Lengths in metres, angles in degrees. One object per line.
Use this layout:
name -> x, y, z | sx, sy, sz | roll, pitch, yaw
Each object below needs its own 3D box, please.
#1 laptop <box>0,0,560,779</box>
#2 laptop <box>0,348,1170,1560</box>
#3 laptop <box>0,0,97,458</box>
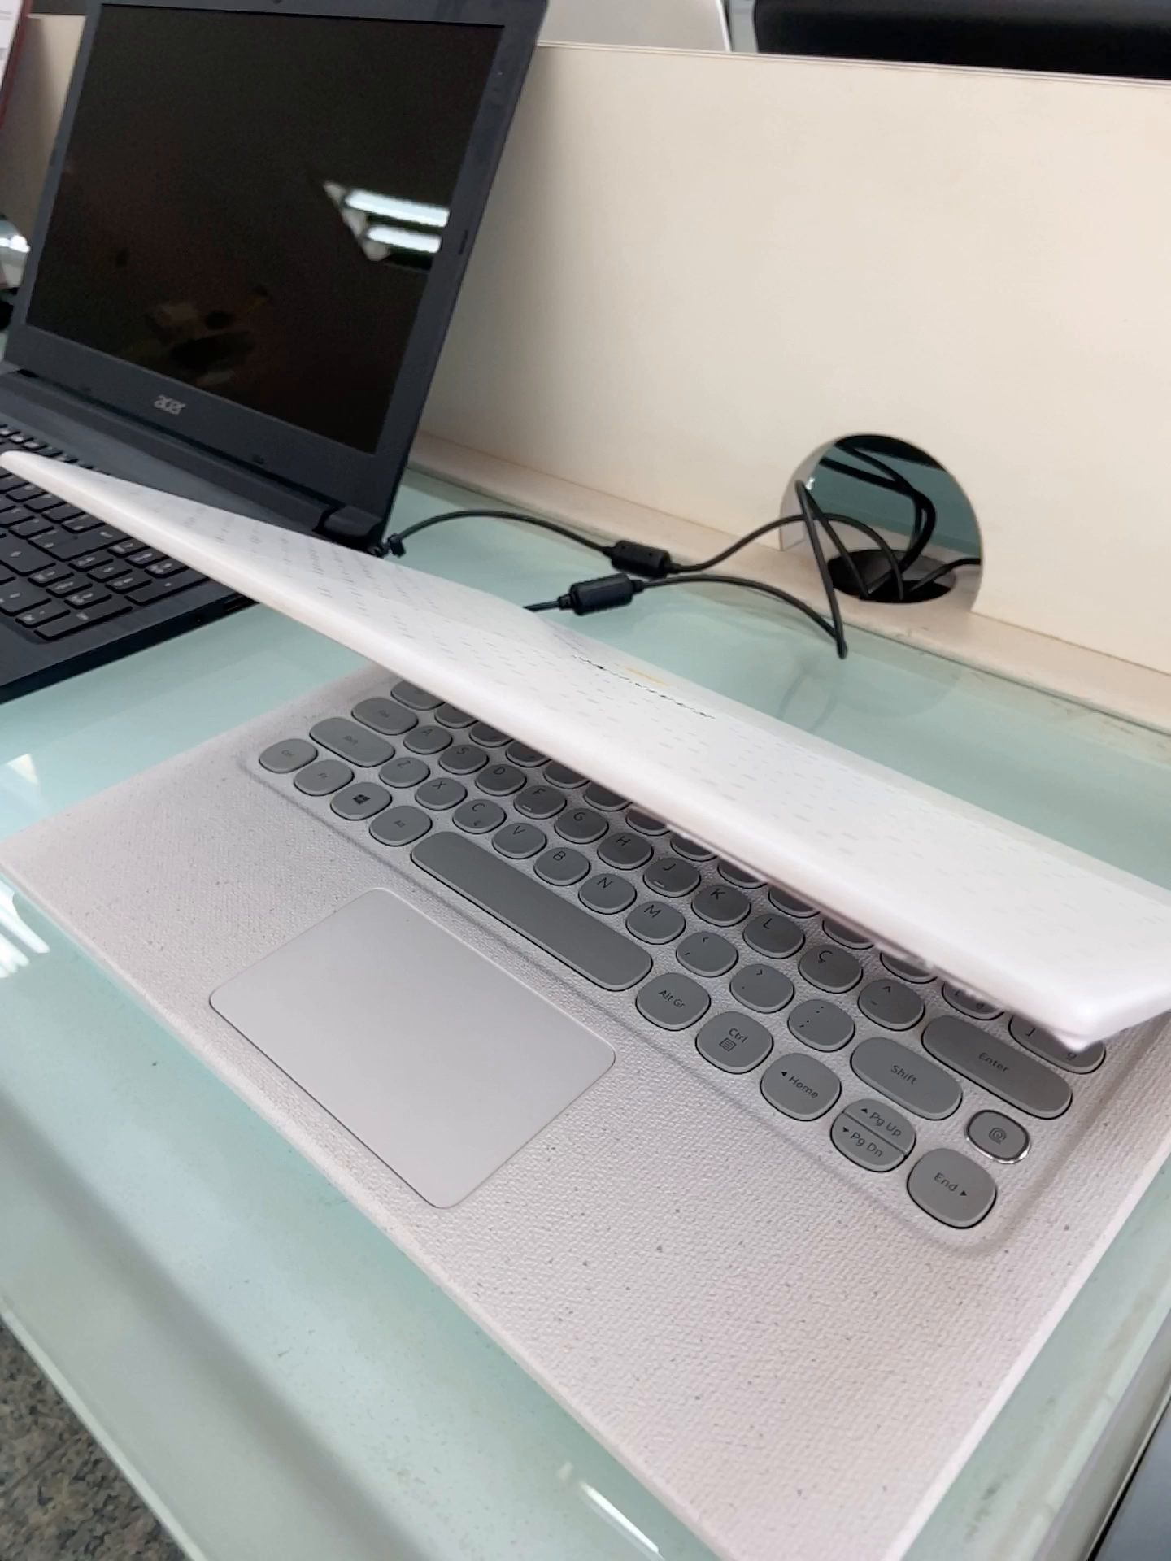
laptop -> -0.290, -0.245, 0.575 | 0.401, 0.213, 0.375 | 28, 45, 36
laptop -> -0.003, -0.008, 0.316 | 0.312, 0.107, 0.206 | 27, 45, 36
laptop -> -0.597, -0.406, 0.794 | 0.309, 0.199, 0.368 | 27, 45, 32
